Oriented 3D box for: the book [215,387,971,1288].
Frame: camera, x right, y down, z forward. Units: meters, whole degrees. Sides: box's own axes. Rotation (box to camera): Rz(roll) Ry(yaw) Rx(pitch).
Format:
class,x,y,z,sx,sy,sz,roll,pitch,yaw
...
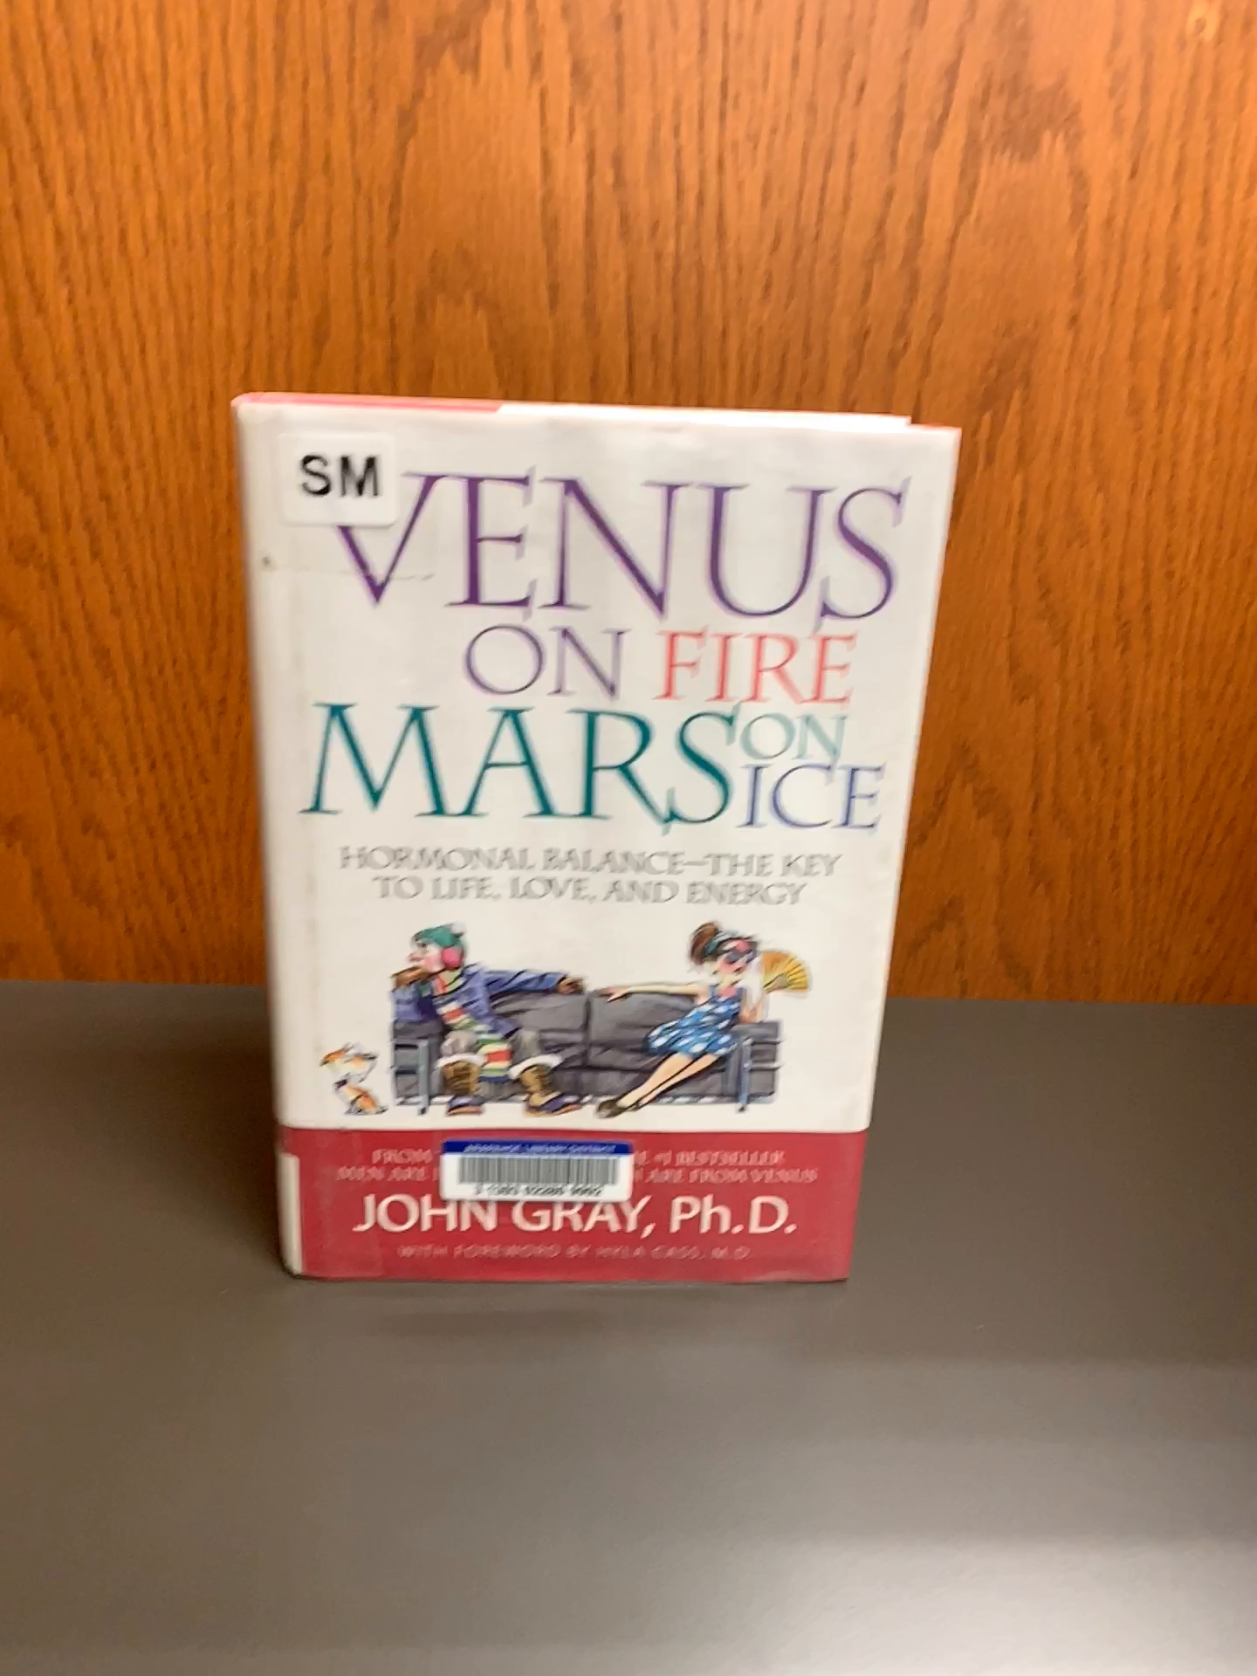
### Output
class,x,y,z,sx,sy,sz,roll,pitch,yaw
book,-0.011,0.009,0.316,0.153,0.220,0.033,1,21,-3
